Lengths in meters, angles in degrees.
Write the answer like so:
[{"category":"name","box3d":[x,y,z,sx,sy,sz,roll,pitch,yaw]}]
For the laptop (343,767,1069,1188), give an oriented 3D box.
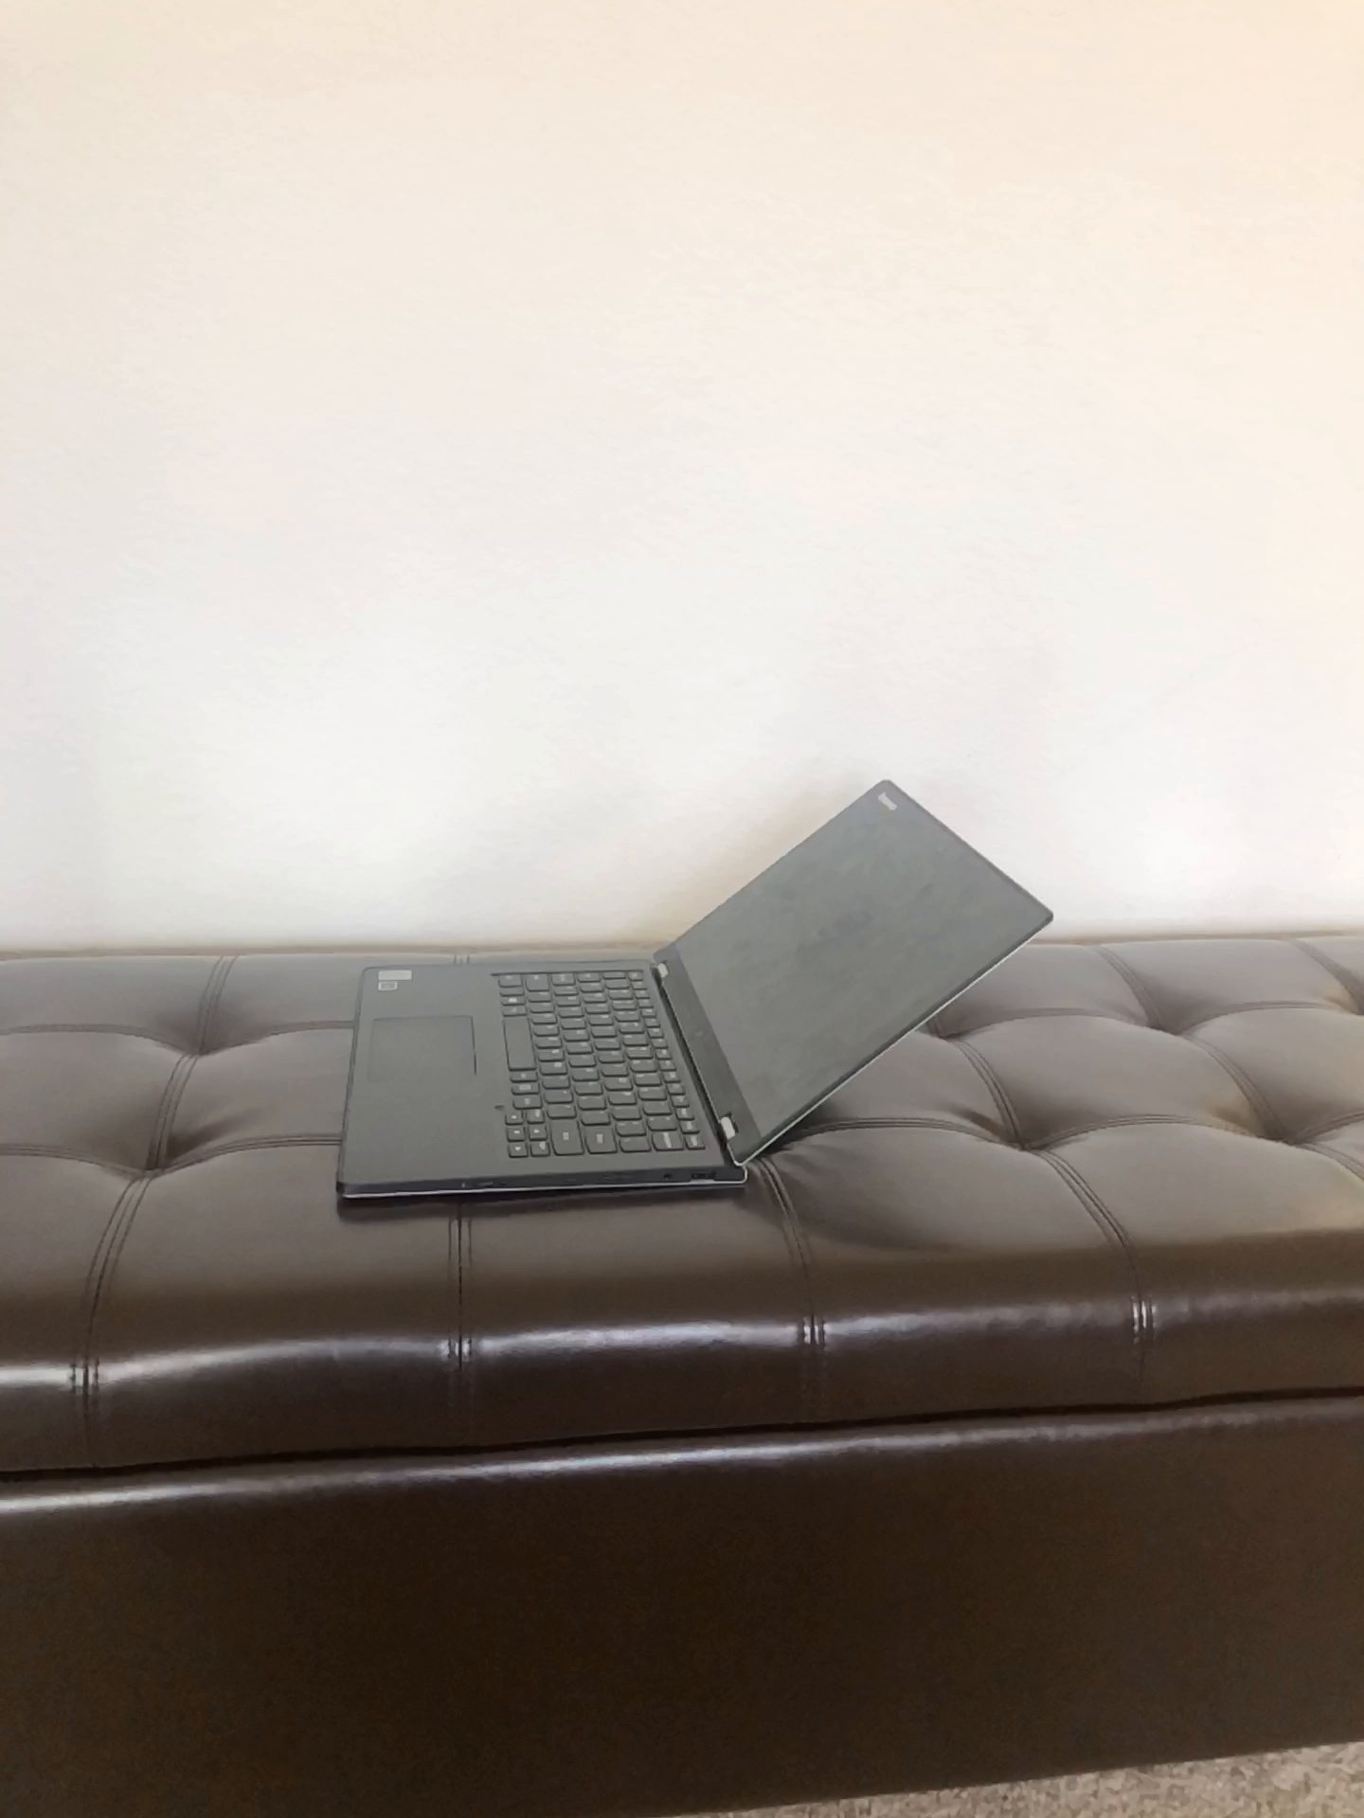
[{"category":"laptop","box3d":[-0.008,0.017,0.782,0.317,0.115,0.262,-2,19,-10]}]
